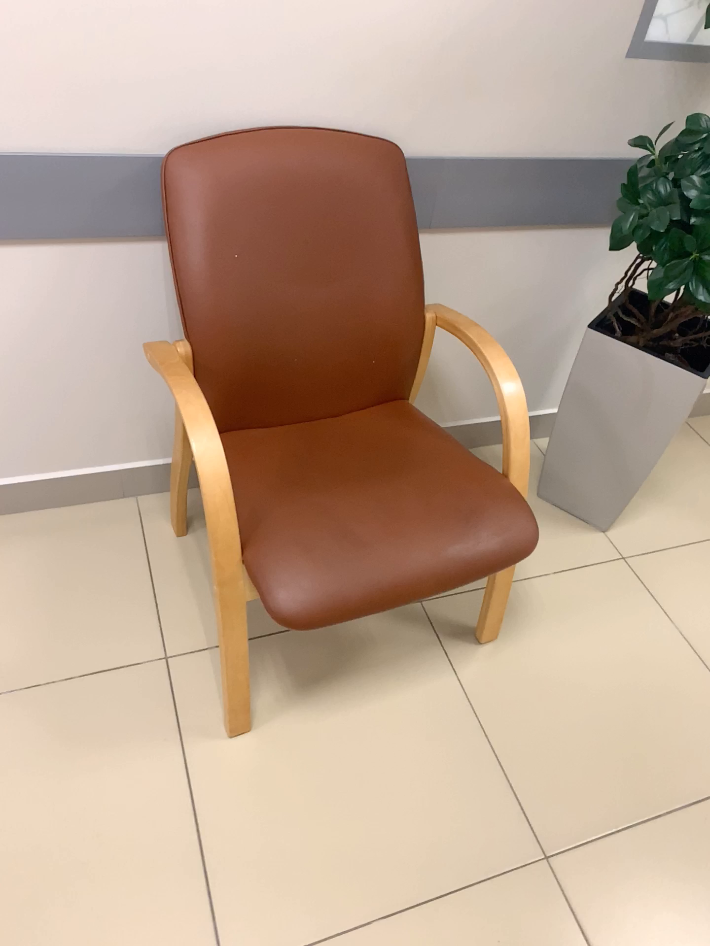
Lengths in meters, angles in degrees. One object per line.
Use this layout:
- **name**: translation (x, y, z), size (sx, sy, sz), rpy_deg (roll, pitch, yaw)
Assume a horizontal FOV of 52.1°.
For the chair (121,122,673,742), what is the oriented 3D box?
- **chair**: translation (-0.022, -0.079, 1.461), size (0.671, 0.984, 0.602), rpy_deg (-12, 47, -23)
